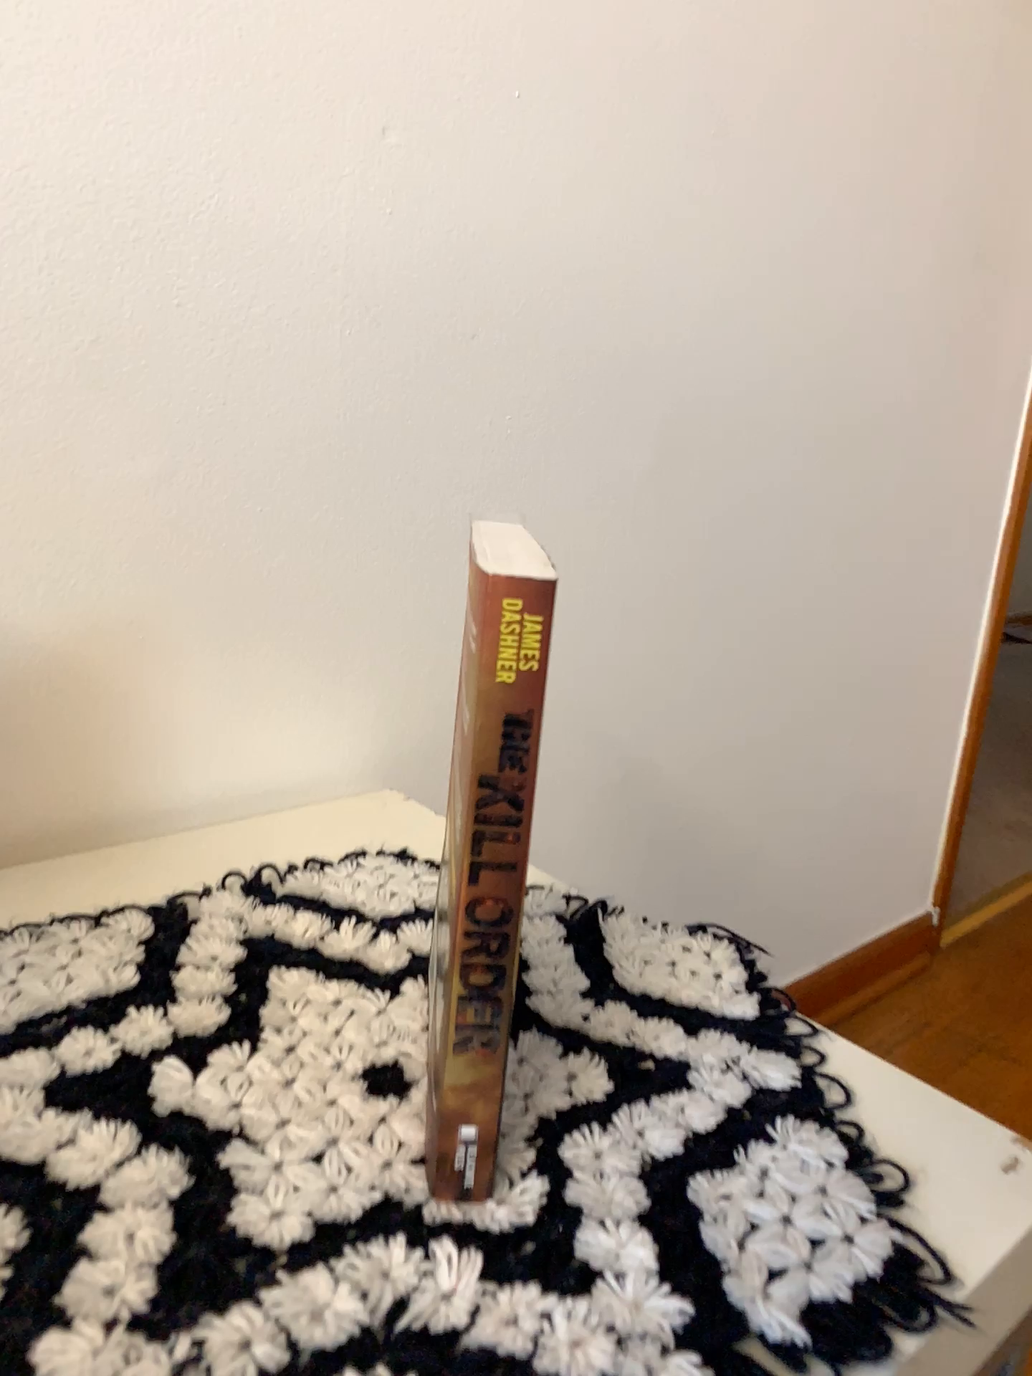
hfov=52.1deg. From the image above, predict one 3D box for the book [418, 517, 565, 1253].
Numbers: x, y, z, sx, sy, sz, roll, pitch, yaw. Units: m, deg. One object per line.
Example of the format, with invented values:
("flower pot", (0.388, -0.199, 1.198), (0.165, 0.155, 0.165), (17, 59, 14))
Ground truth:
("book", (-0.012, 0.055, 0.392), (0.030, 0.219, 0.161), (3, 13, -3))
